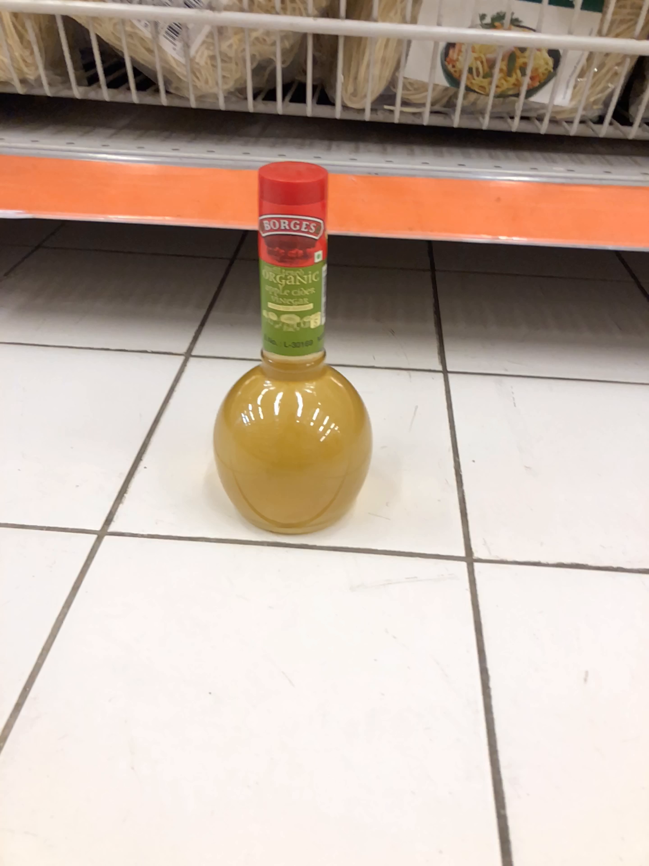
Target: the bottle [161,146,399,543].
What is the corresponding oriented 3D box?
[{"bbox_3d":[-0.015,-0.043,0.359,0.090,0.169,0.091,1,34,-1],"label":"bottle"}]
